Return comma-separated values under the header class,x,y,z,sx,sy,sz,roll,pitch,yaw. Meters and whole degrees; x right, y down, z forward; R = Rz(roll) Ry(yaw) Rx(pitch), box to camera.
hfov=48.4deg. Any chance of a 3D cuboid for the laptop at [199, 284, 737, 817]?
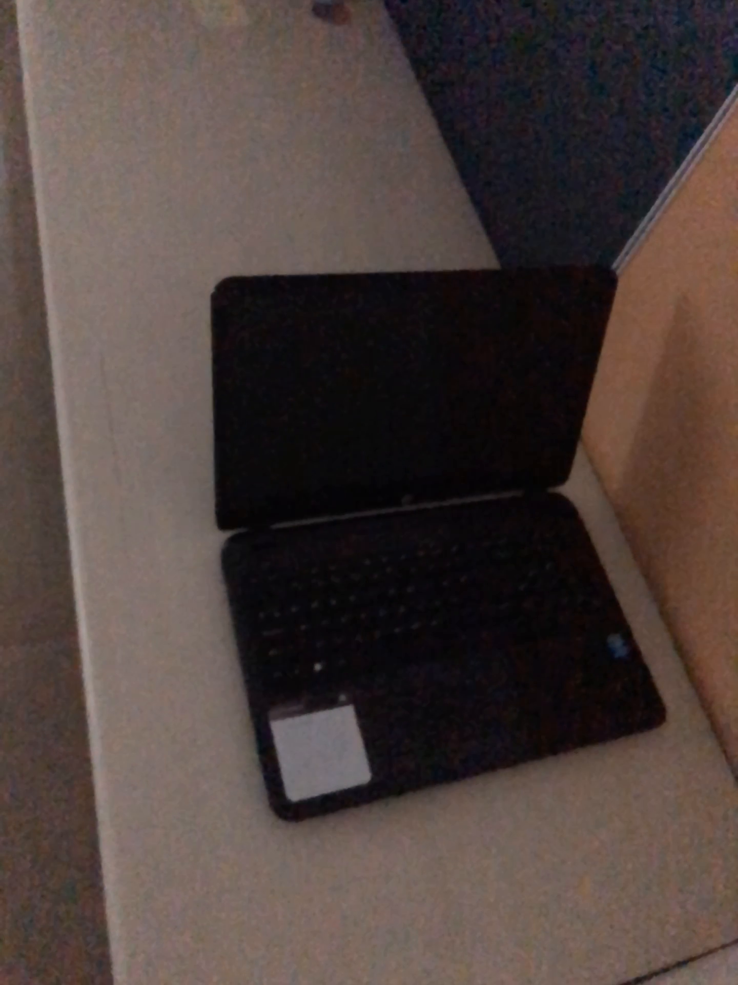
class,x,y,z,sx,sy,sz,roll,pitch,yaw
laptop,0.073,0.030,0.688,0.356,0.205,0.353,-6,60,-19
